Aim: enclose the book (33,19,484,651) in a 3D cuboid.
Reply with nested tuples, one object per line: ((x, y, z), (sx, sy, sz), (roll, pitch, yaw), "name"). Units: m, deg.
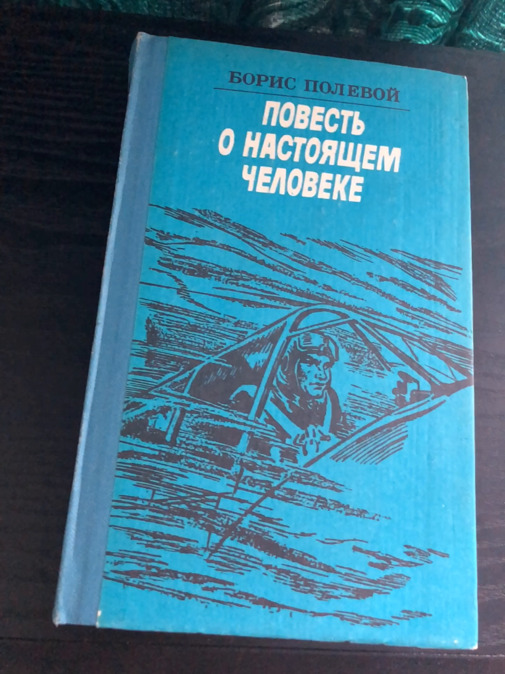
((0.009, -0.008, 0.185), (0.123, 0.020, 0.190), (5, 77, -4), "book")
